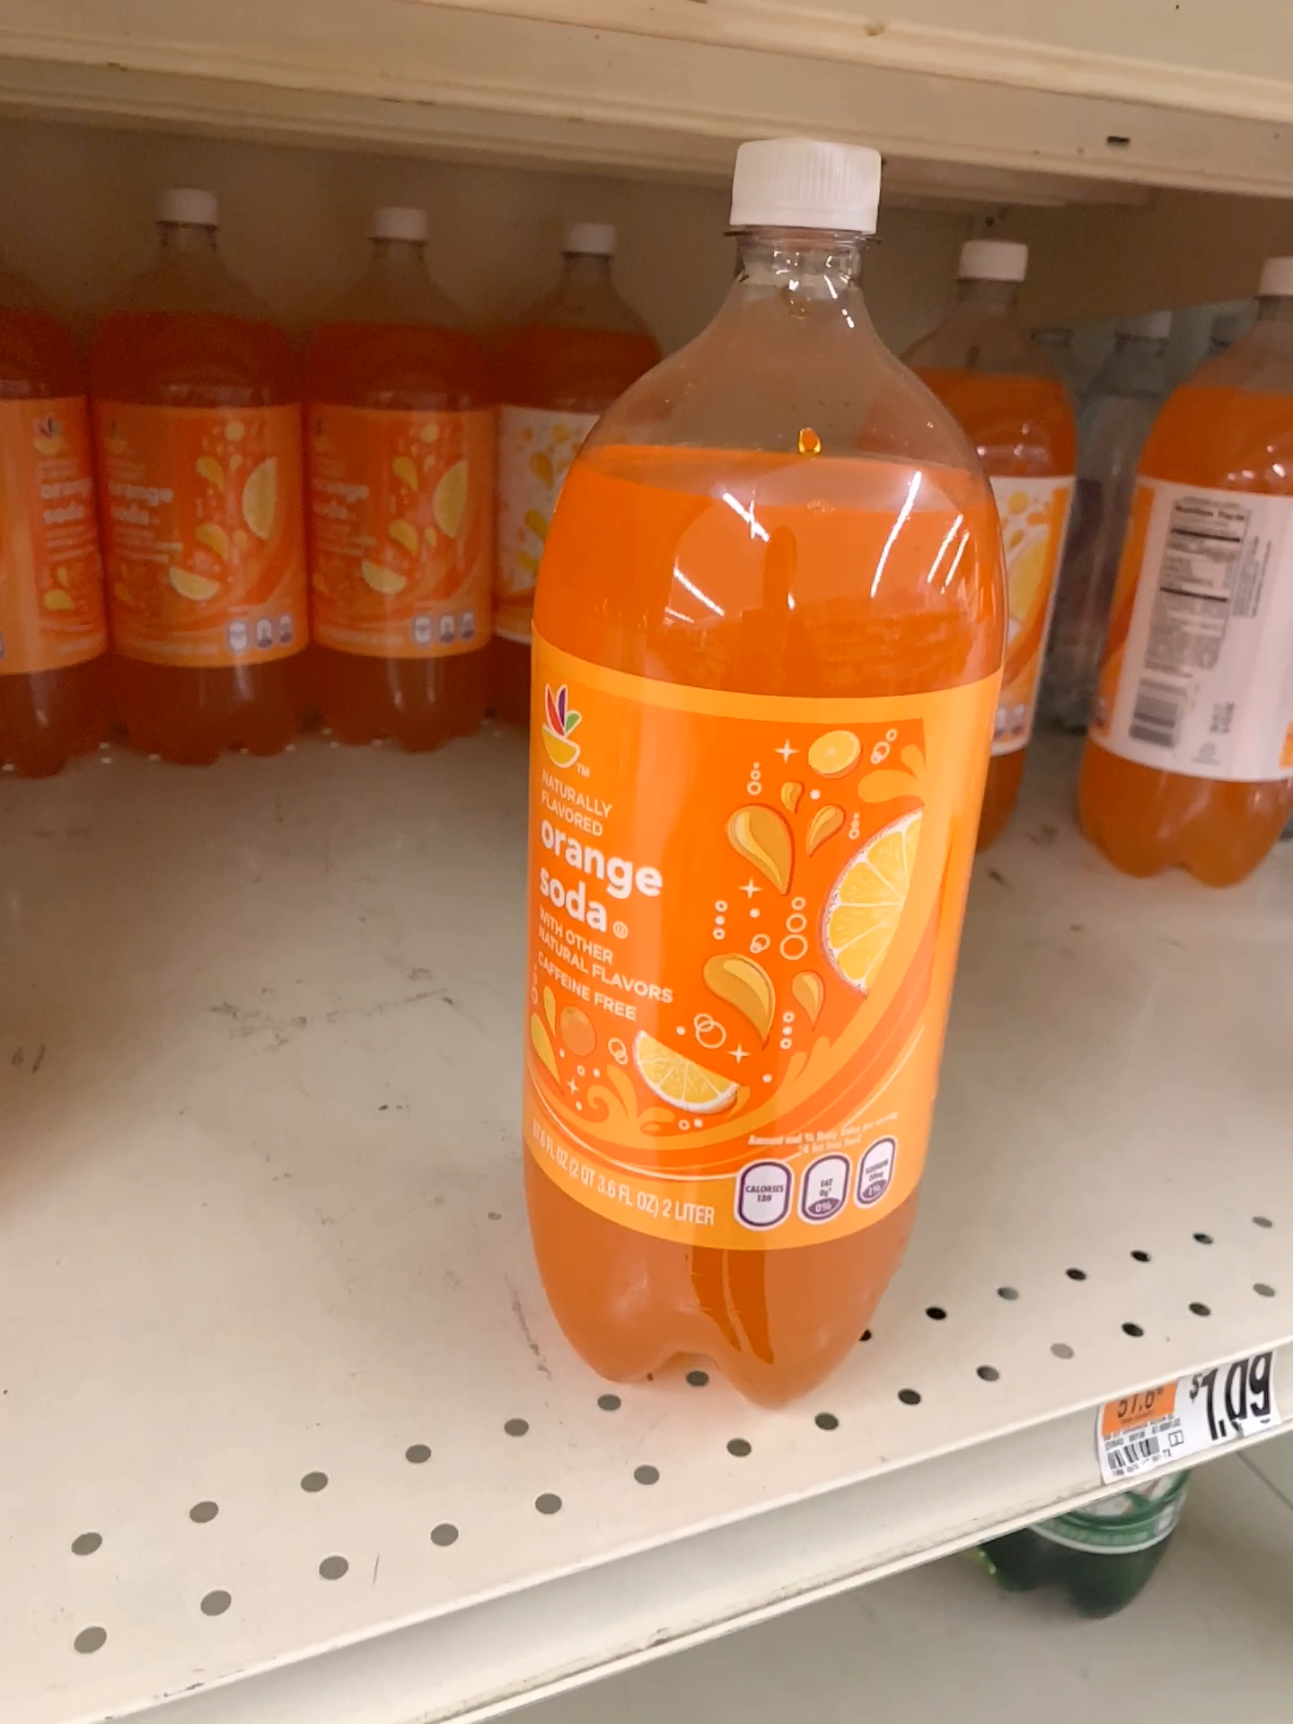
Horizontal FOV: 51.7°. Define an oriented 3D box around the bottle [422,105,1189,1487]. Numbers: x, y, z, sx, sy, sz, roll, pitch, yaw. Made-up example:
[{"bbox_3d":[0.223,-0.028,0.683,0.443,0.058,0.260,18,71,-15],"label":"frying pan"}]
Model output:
[{"bbox_3d":[0.027,-0.017,0.334,0.110,0.288,0.120,4,24,-2],"label":"bottle"}]
